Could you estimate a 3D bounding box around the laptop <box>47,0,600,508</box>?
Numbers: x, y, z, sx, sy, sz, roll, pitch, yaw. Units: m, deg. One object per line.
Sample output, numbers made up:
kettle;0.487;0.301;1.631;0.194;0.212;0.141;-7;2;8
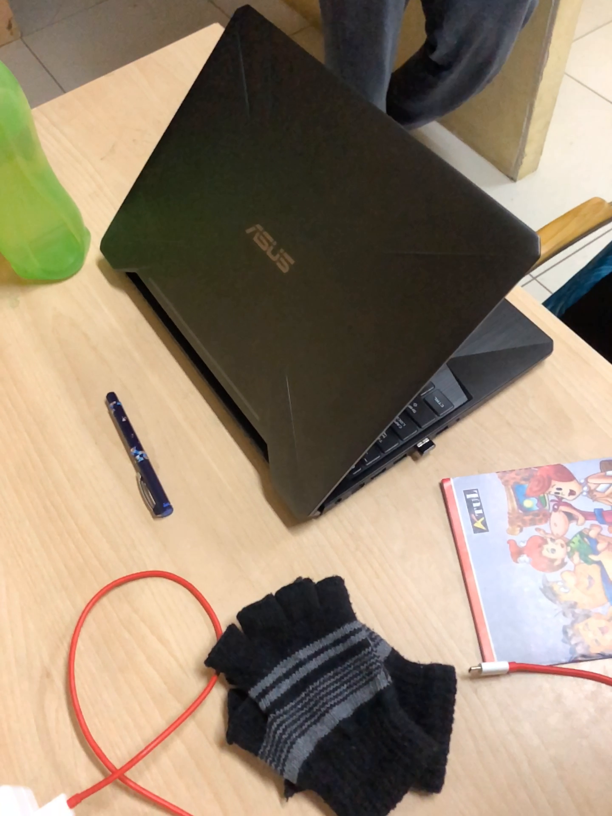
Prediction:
laptop;0.003;-0.143;0.547;0.248;0.147;0.339;-32;63;-15
